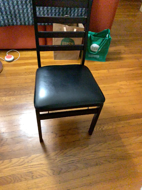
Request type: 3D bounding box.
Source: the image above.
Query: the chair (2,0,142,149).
[{"bbox_3d":[-0.025,-0.134,0.892,0.490,0.866,0.552,-7,53,-12],"label":"chair"}]
